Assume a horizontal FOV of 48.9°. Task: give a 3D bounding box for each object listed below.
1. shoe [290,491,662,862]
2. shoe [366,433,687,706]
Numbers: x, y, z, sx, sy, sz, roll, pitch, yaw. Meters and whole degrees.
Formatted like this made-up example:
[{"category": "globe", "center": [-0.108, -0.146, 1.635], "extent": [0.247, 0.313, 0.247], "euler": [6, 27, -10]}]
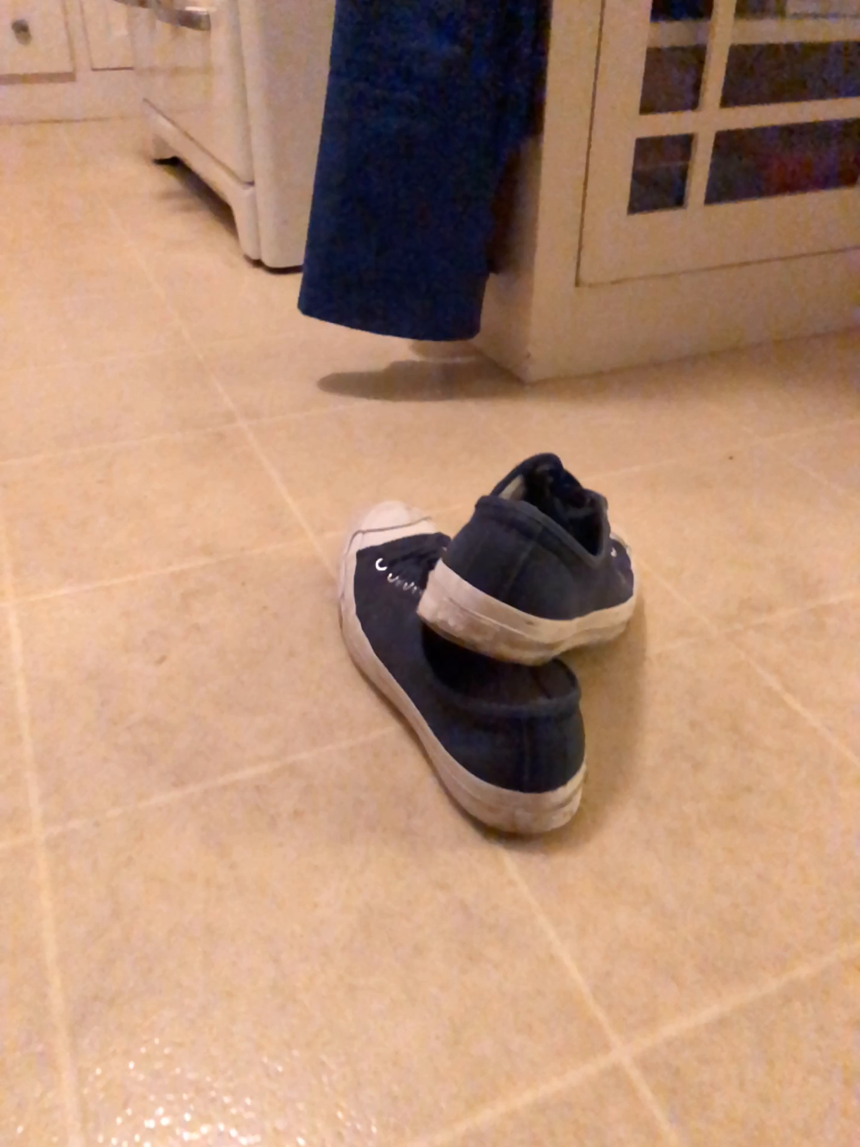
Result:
[{"category": "shoe", "center": [0.008, 0.041, 0.600], "extent": [0.110, 0.080, 0.291], "euler": [-10, 28, -22]}, {"category": "shoe", "center": [0.081, -0.022, 0.613], "extent": [0.100, 0.100, 0.291], "euler": [33, 18, 13]}]
